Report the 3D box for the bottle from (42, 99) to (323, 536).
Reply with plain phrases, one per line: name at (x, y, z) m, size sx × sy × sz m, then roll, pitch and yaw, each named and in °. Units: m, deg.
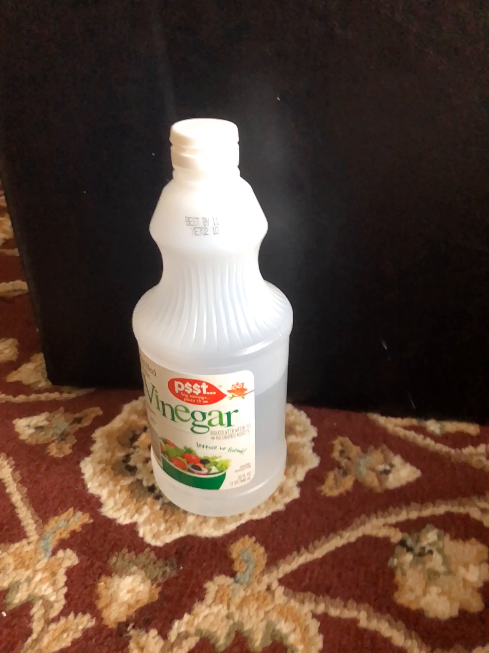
bottle at (-0.022, -0.001, 0.310) m, size 0.100 × 0.219 × 0.090 m, roll 10°, pitch 35°, yaw 16°
